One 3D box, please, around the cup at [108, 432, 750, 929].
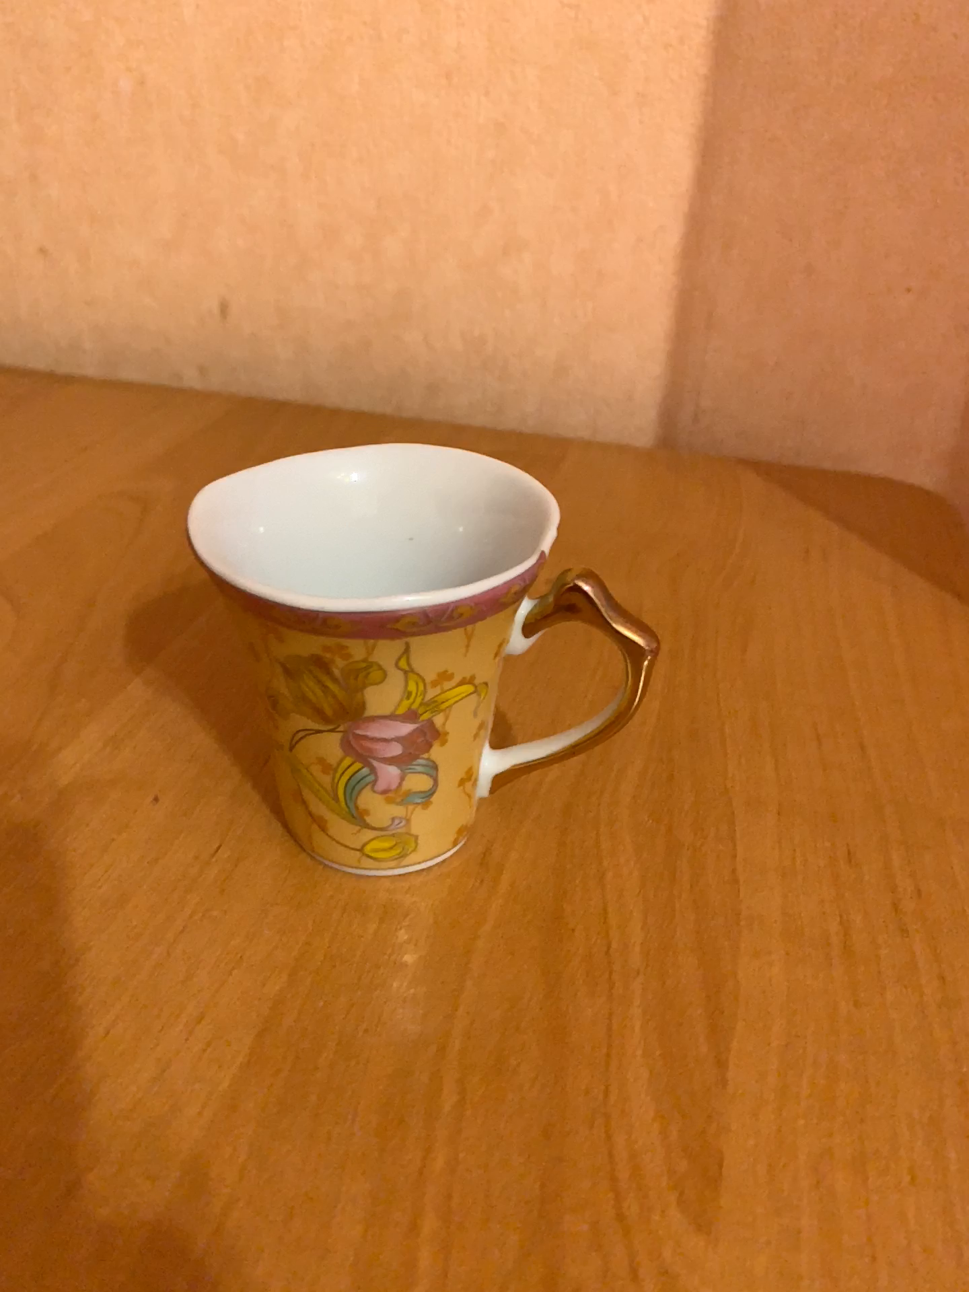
[{"bbox_3d":[-0.008,0.003,0.194,0.094,0.061,0.072,3,30,1],"label":"cup"}]
